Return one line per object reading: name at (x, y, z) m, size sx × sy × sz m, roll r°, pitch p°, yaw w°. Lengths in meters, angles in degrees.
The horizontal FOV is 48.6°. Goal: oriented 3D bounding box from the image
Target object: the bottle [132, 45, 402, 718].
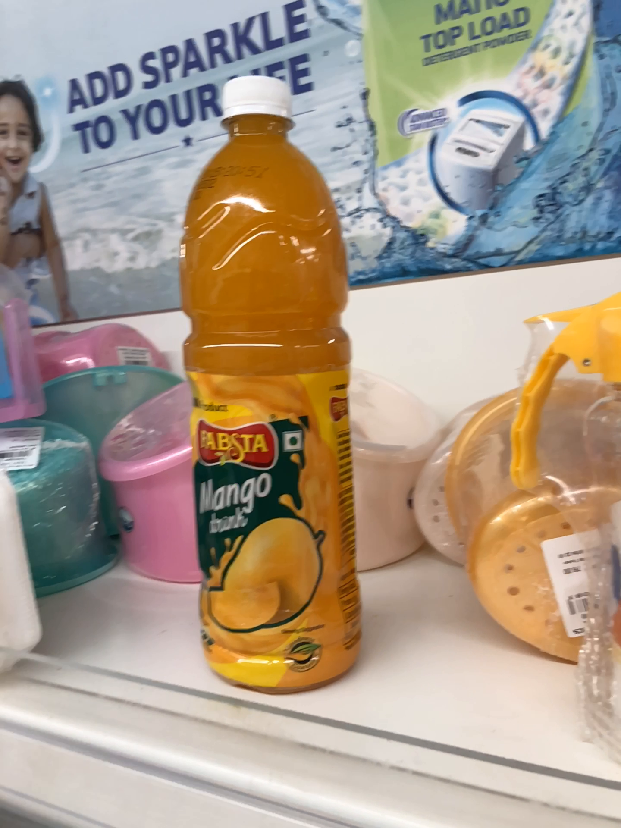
bottle at (-0.013, -0.012, 0.319) m, size 0.090 × 0.259 × 0.080 m, roll 3°, pitch 10°, yaw 25°
